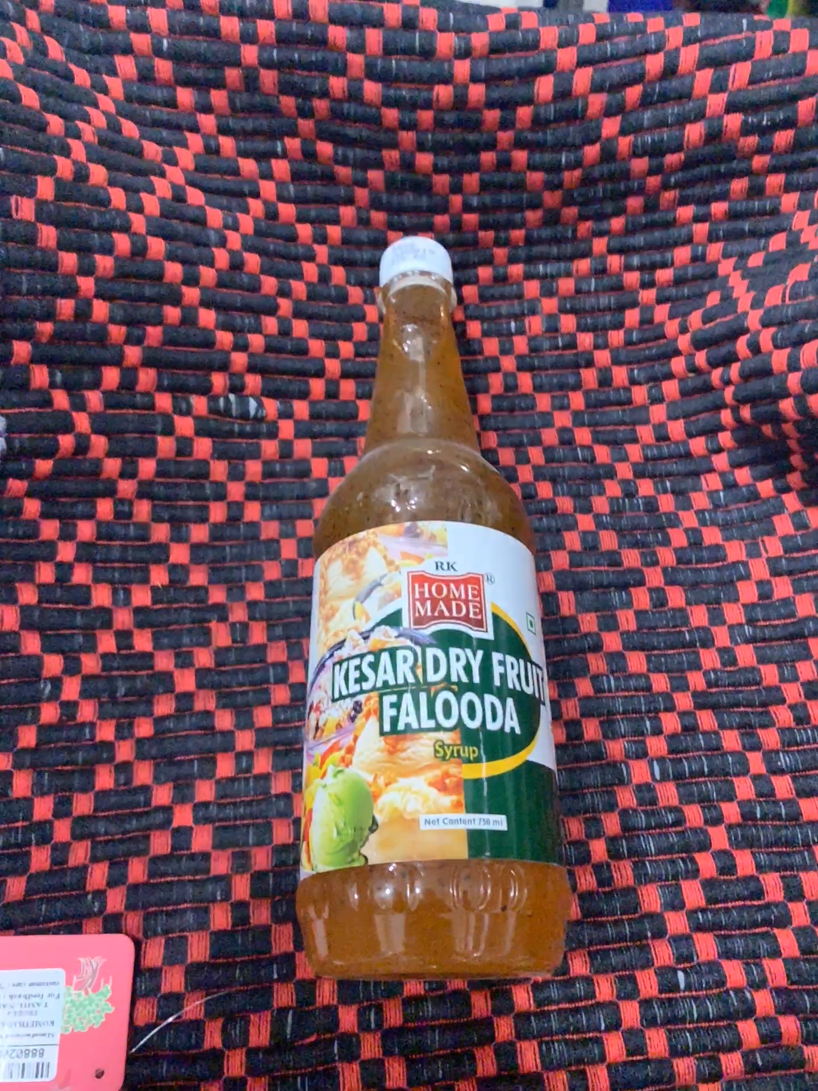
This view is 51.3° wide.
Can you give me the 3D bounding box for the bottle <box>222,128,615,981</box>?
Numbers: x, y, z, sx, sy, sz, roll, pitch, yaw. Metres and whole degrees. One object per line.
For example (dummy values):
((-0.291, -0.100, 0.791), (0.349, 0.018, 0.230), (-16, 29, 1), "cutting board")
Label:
((-0.002, -0.012, 0.265), (0.080, 0.070, 0.261), (-1, 62, -2), "bottle")
